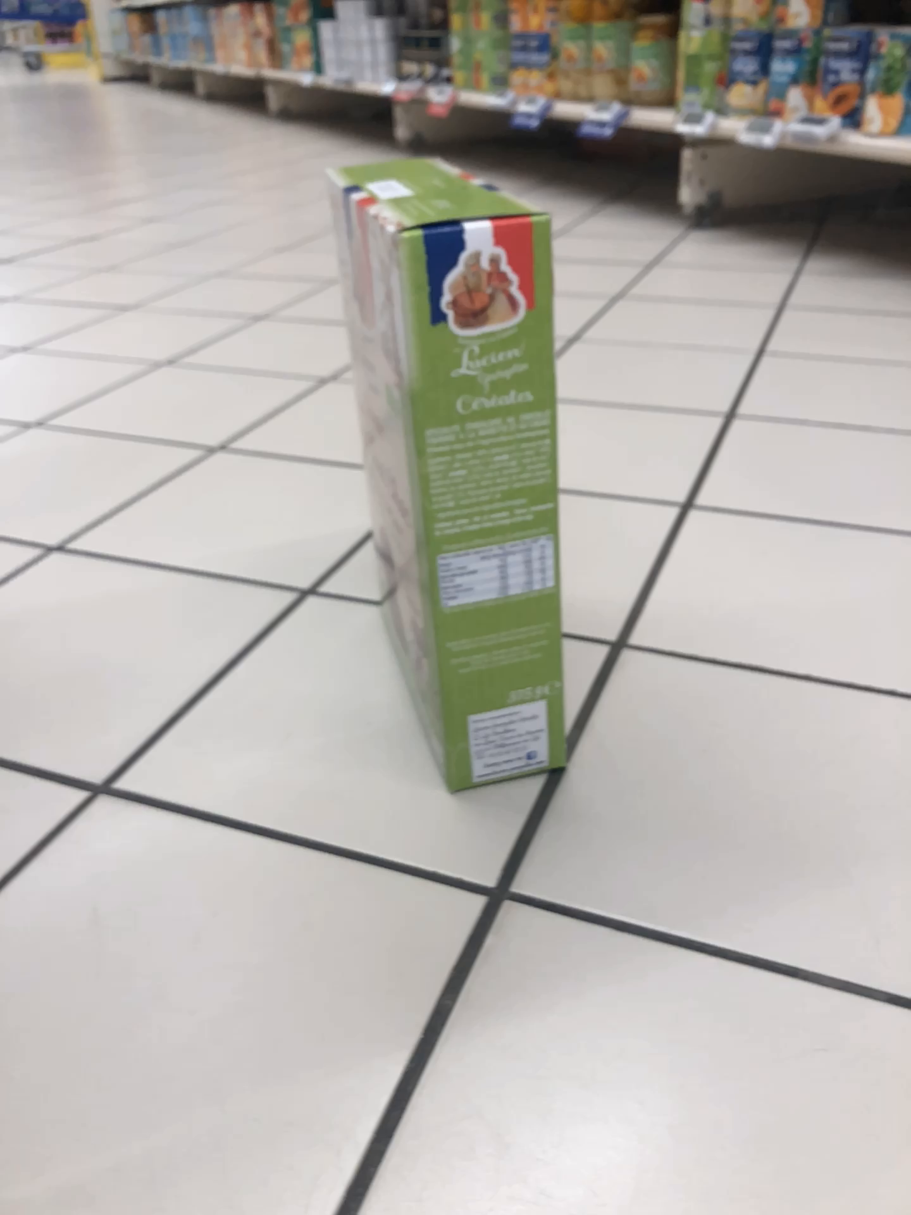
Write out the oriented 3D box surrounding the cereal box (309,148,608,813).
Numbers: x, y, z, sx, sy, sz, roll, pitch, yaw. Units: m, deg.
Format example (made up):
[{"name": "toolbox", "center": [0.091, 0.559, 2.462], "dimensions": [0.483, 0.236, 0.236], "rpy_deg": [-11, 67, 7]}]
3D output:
[{"name": "cereal box", "center": [-0.007, -0.070, 0.467], "dimensions": [0.080, 0.239, 0.201], "rpy_deg": [-7, 30, -10]}]
